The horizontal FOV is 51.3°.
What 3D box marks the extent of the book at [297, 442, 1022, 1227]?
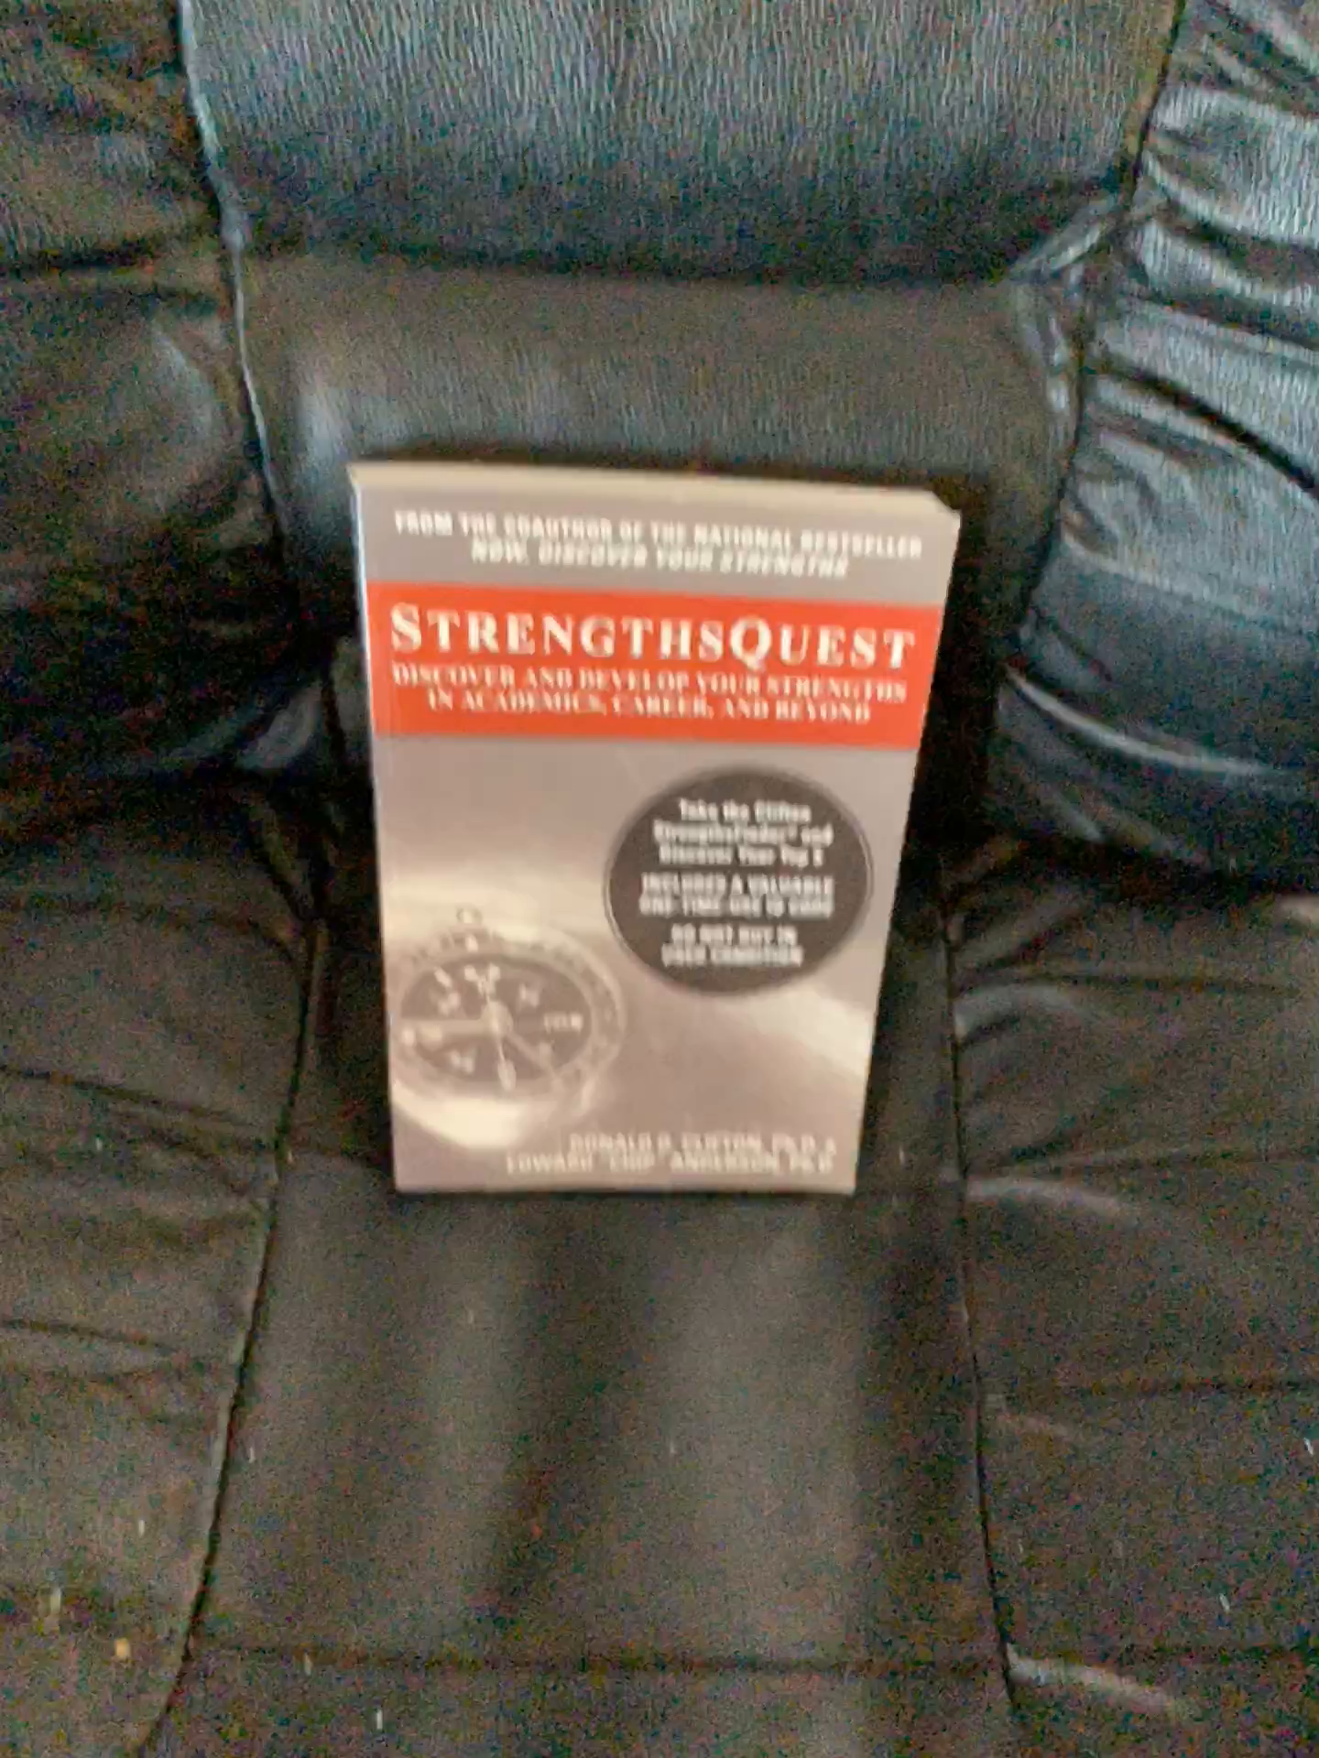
[{"bbox_3d":[-0.002,0.001,0.396,0.170,0.239,0.030,0,31,-3],"label":"book"}]
